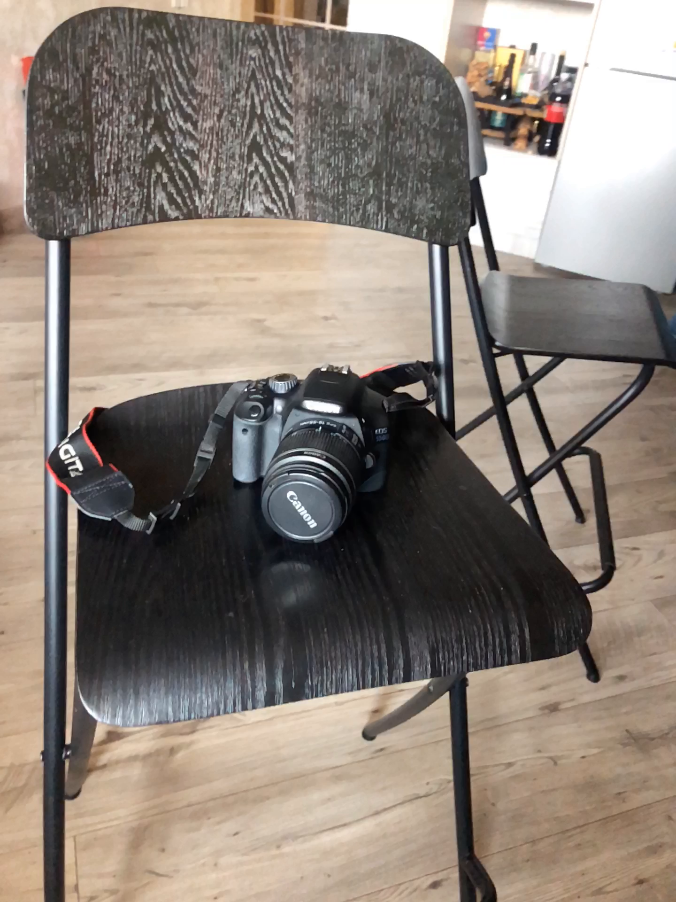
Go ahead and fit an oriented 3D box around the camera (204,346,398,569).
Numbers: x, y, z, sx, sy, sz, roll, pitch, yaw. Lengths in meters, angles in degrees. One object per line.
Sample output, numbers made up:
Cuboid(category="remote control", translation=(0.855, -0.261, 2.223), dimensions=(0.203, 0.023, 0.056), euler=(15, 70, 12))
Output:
Cuboid(category="camera", translation=(-0.025, -0.001, 0.579), dimensions=(0.120, 0.092, 0.141), euler=(9, 33, 4))
